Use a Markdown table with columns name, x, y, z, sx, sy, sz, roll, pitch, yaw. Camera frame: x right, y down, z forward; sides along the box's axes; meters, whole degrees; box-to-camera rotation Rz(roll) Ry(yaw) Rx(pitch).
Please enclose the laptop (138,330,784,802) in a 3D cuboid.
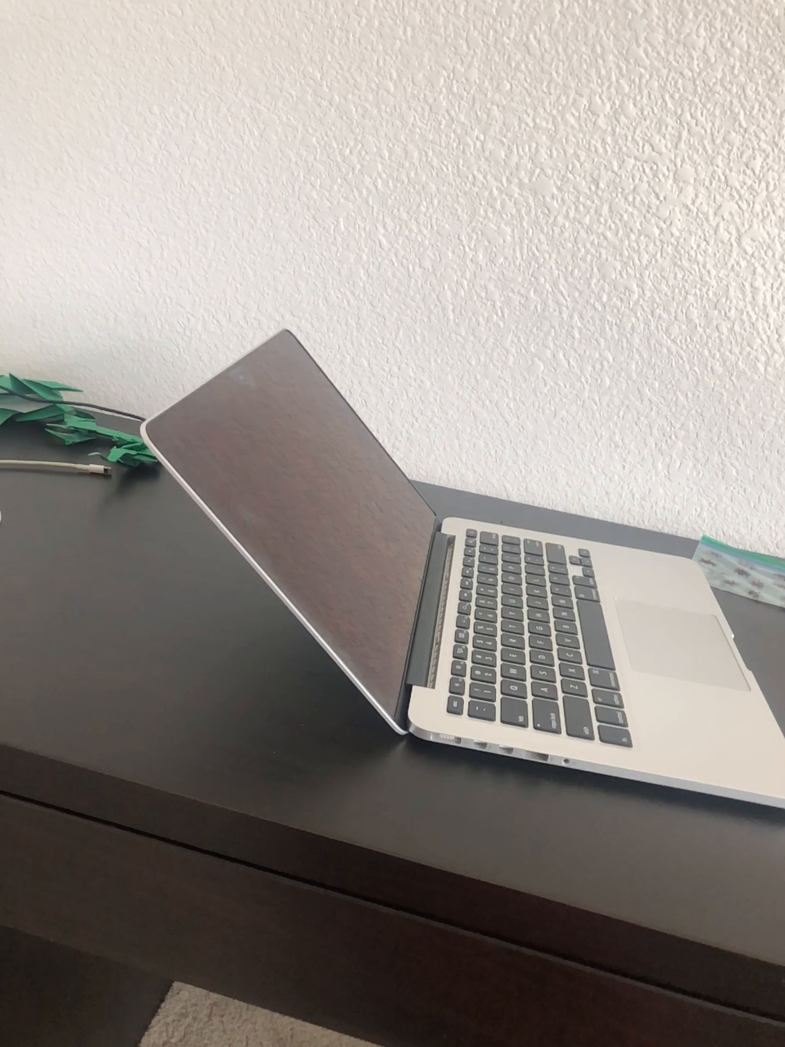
| name | x | y | z | sx | sy | sz | roll | pitch | yaw |
| --- | --- | --- | --- | --- | --- | --- | --- | --- | --- |
| laptop | 0.066 | -0.008 | 0.580 | 0.362 | 0.133 | 0.310 | 10 | 23 | 4 |
